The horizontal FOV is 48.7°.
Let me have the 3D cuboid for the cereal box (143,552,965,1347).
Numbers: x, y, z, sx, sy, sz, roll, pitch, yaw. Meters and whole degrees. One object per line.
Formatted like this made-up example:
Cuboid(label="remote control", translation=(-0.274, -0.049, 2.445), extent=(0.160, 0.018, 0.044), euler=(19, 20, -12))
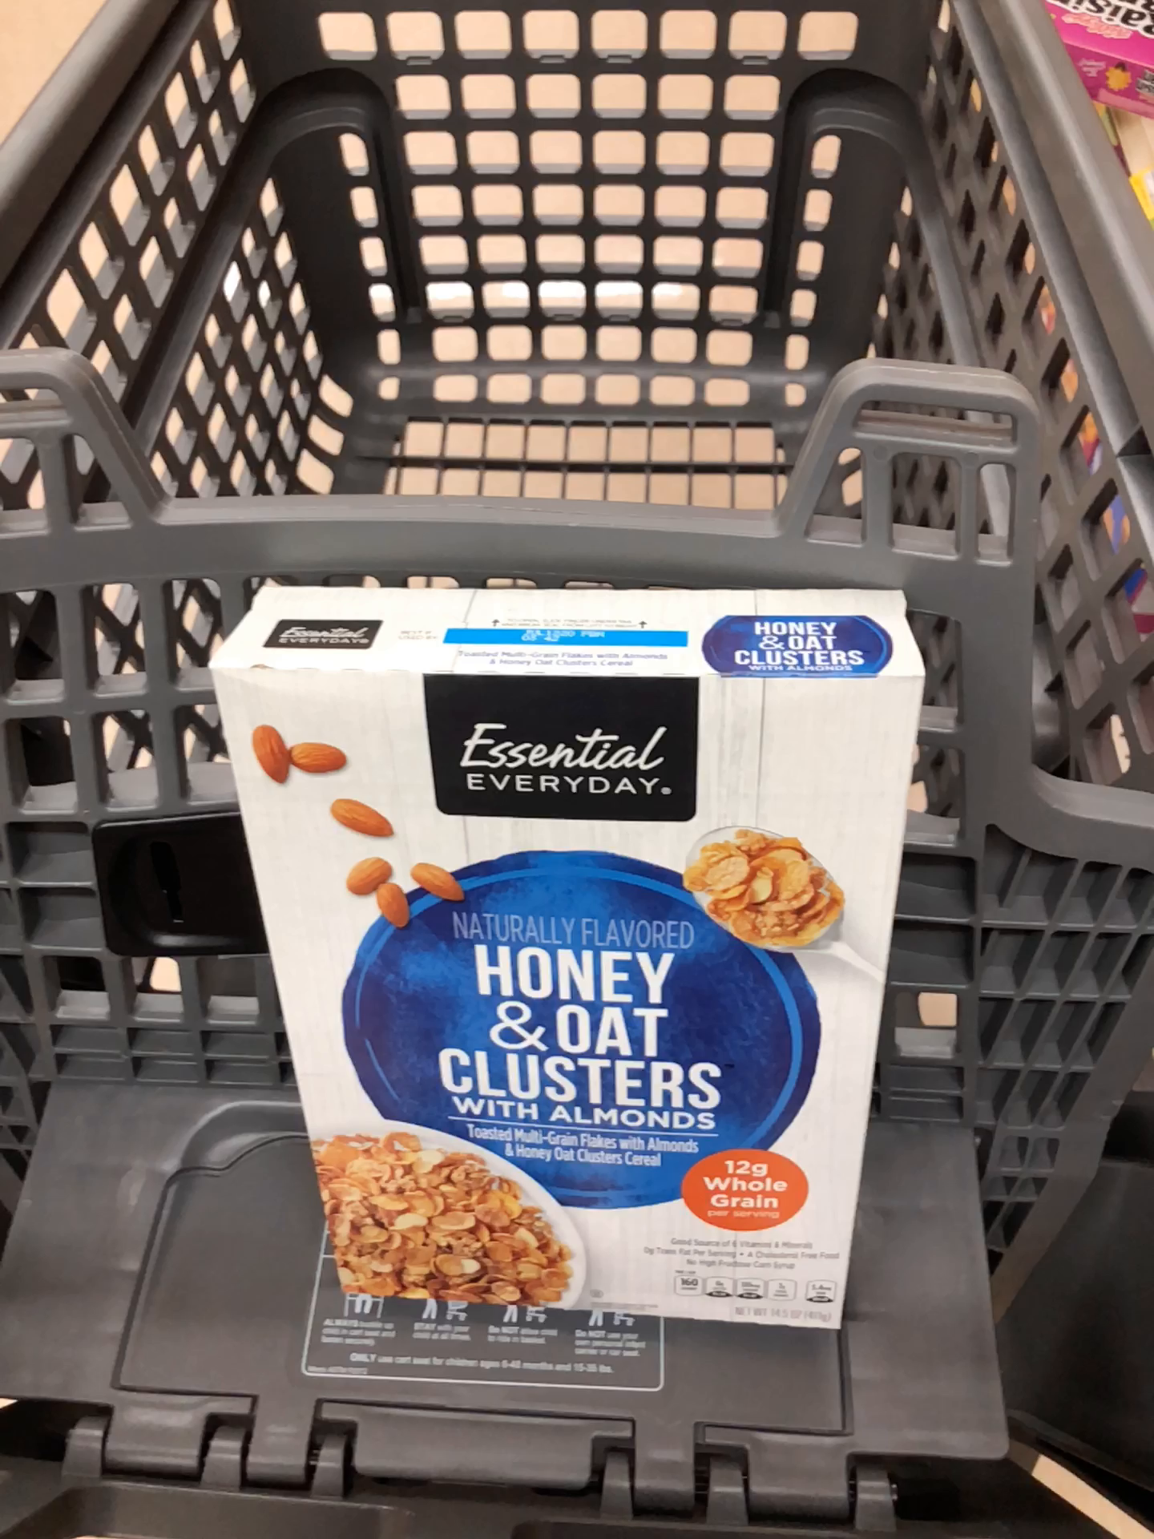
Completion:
Cuboid(label="cereal box", translation=(-0.003, 0.072, 0.424), extent=(0.210, 0.280, 0.060), euler=(2, 33, 6))
